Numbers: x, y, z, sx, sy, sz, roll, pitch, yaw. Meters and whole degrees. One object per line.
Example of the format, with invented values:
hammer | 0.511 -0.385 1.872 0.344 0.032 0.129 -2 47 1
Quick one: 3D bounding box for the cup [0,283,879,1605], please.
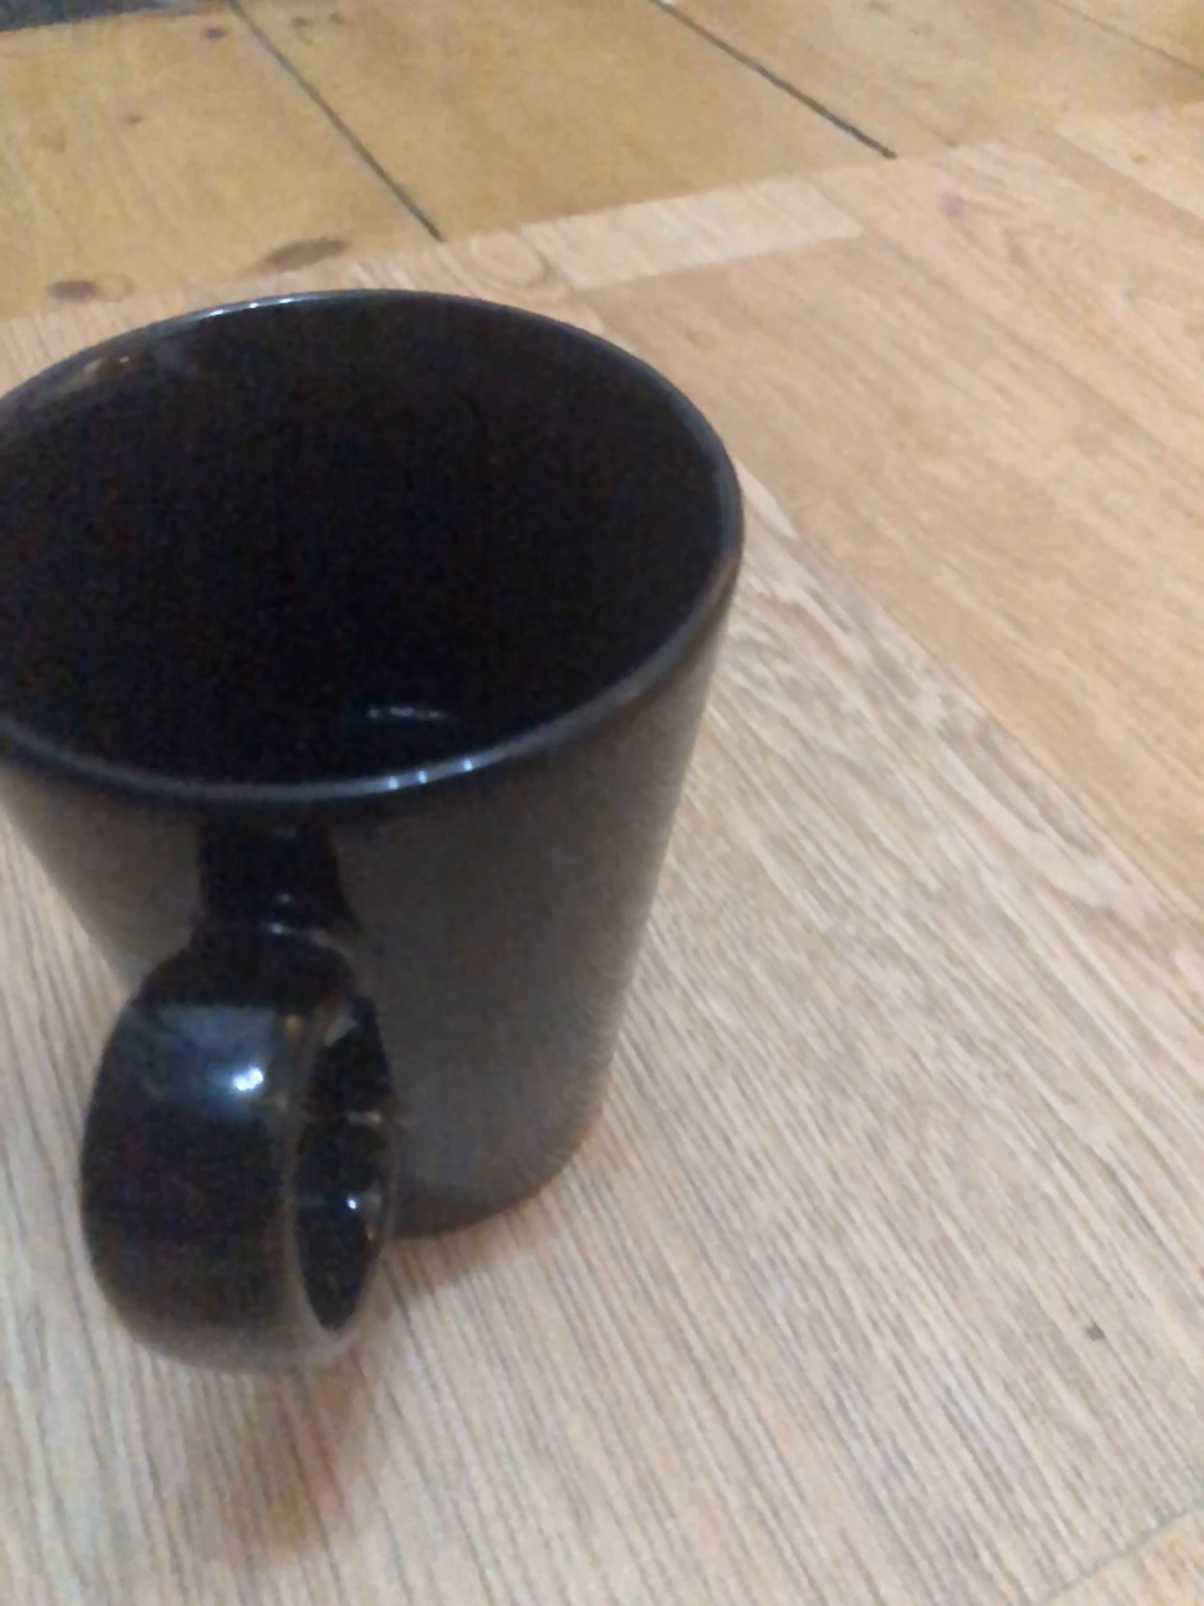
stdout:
cup | -0.023 0.013 0.157 0.090 0.089 0.121 4 47 3
